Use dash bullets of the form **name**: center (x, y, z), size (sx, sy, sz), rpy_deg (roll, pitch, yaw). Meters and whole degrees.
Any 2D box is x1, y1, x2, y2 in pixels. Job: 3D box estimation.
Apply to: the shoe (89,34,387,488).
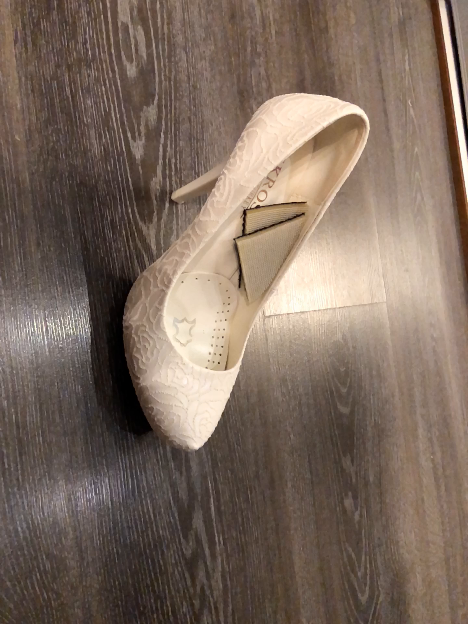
- **shoe**: center (0.000, -0.016, 0.314), size (0.090, 0.149, 0.210), rpy_deg (13, 76, -39)
